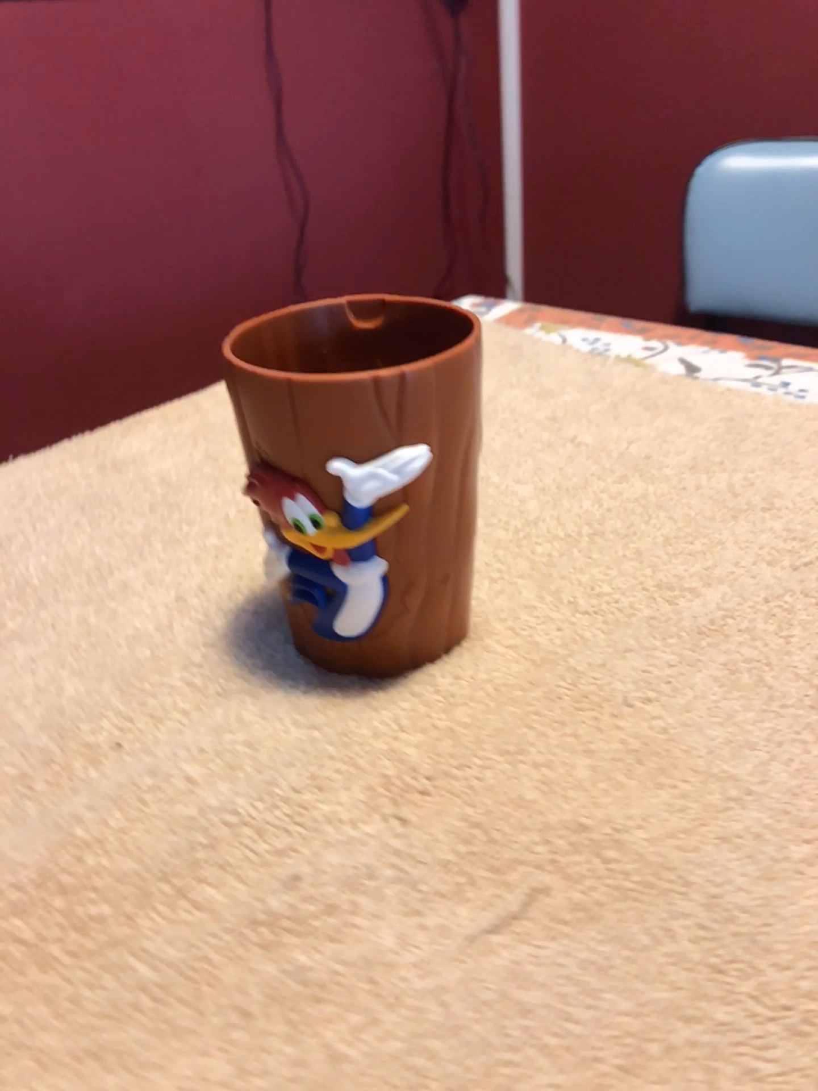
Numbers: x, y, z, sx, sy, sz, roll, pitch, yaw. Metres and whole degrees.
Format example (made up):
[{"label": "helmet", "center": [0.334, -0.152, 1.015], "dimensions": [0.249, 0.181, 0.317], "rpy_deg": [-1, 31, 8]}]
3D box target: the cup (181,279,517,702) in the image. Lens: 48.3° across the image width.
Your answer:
[{"label": "cup", "center": [-0.010, -0.023, 0.307], "dimensions": [0.080, 0.109, 0.091], "rpy_deg": [3, 29, 14]}]
